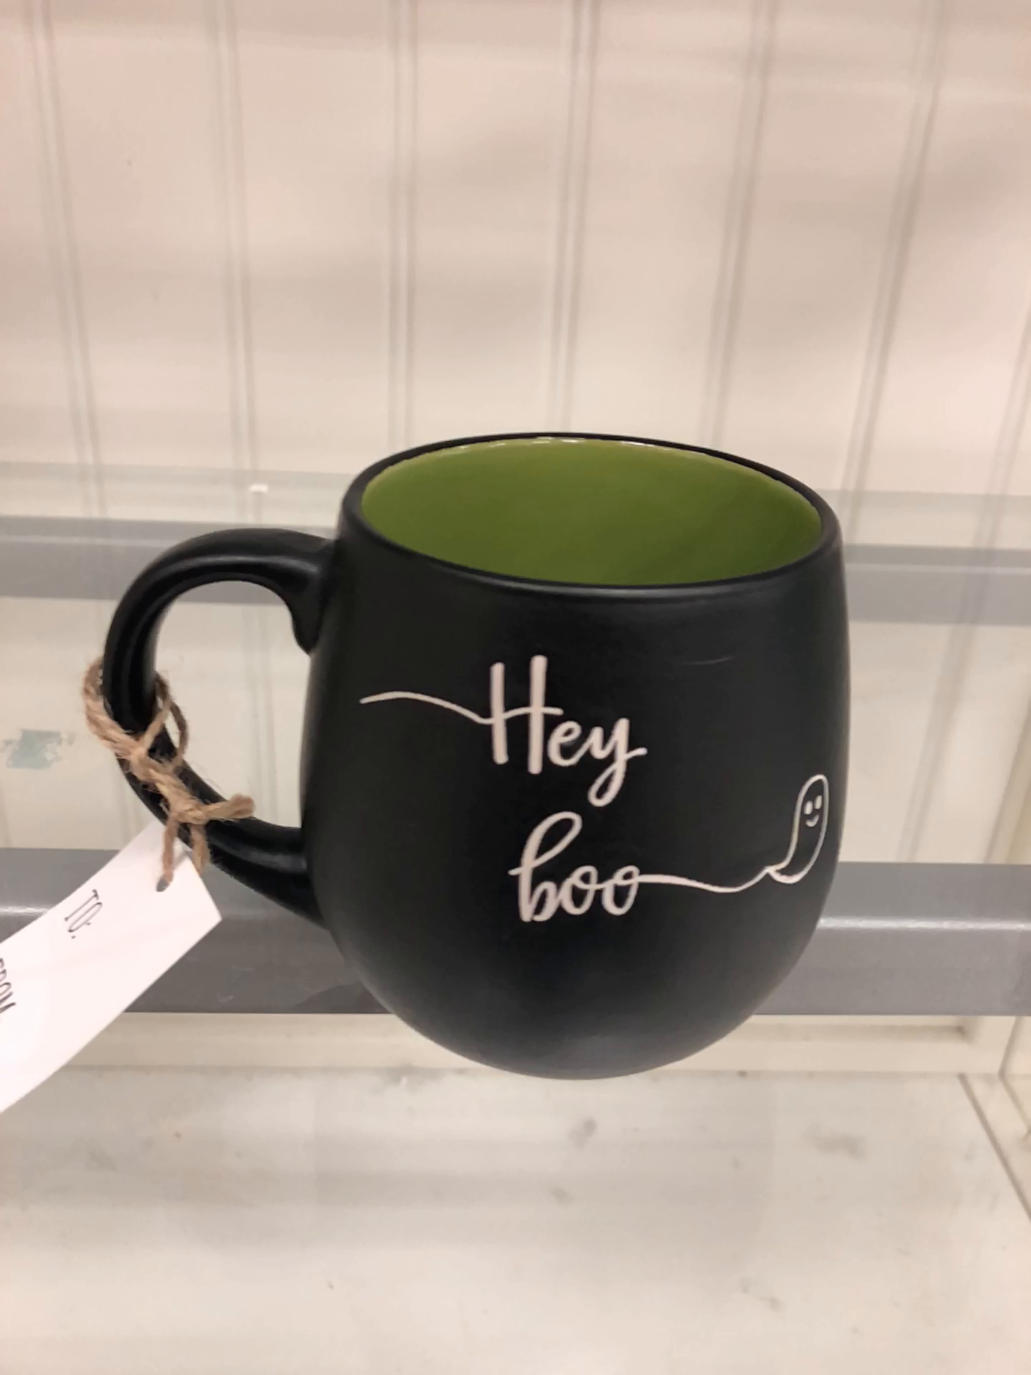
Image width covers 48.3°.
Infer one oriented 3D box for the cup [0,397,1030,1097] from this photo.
[{"bbox_3d":[-0.003,0.006,0.211,0.149,0.089,0.091,2,27,-3],"label":"cup"}]
